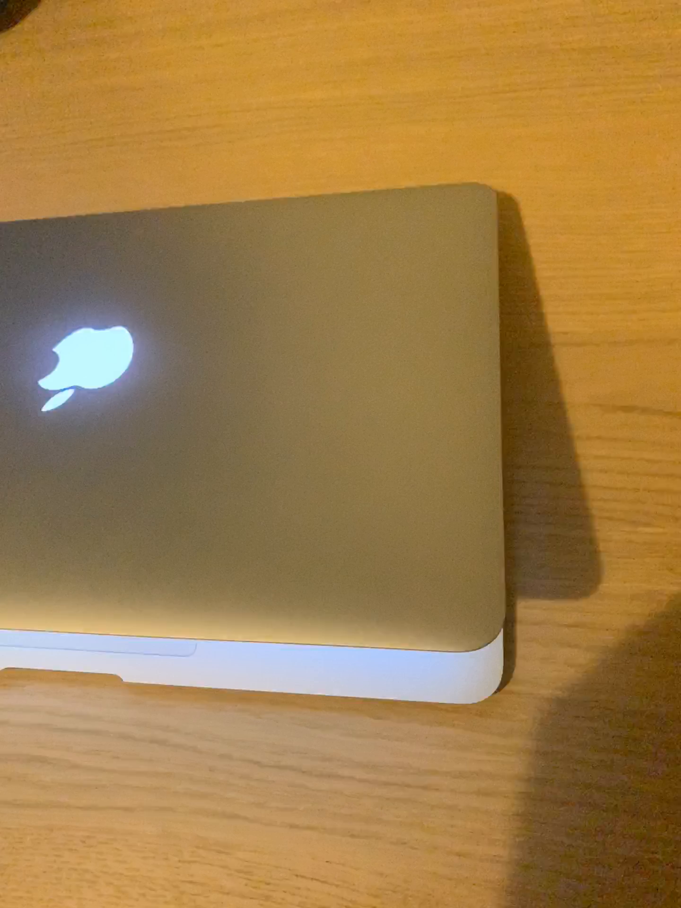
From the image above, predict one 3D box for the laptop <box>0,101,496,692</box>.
[{"bbox_3d":[-0.101,-0.031,0.289,0.320,0.048,0.218,0,63,13],"label":"laptop"}]
